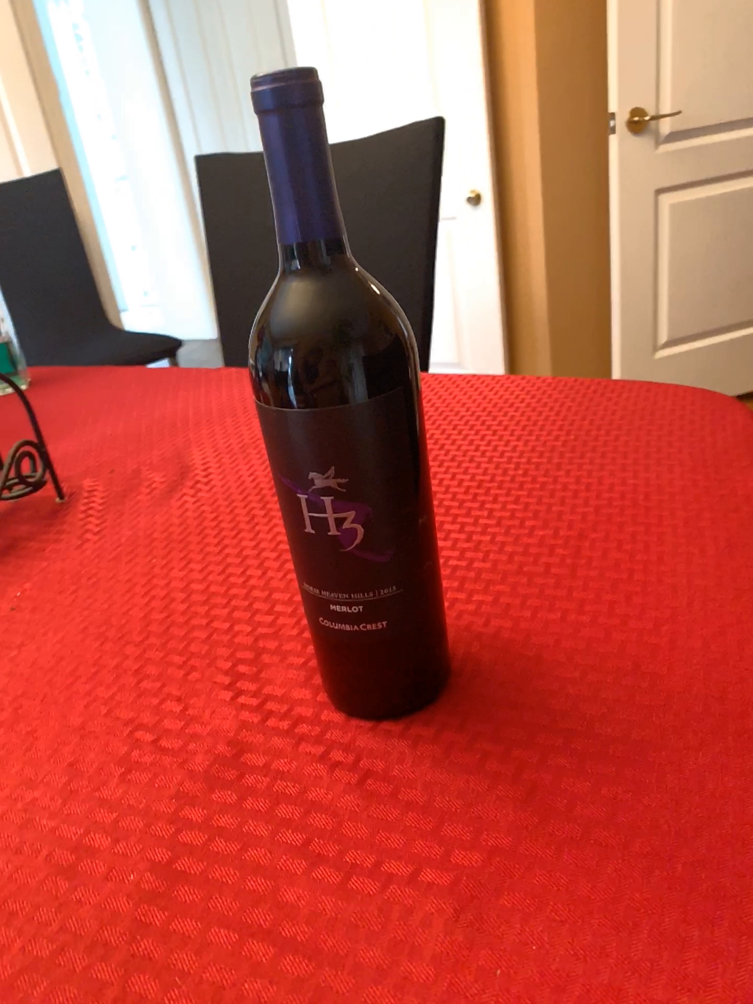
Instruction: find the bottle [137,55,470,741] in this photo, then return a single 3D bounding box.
[{"bbox_3d":[-0.015,-0.032,0.356,0.080,0.288,0.080,-7,25,4],"label":"bottle"}]
